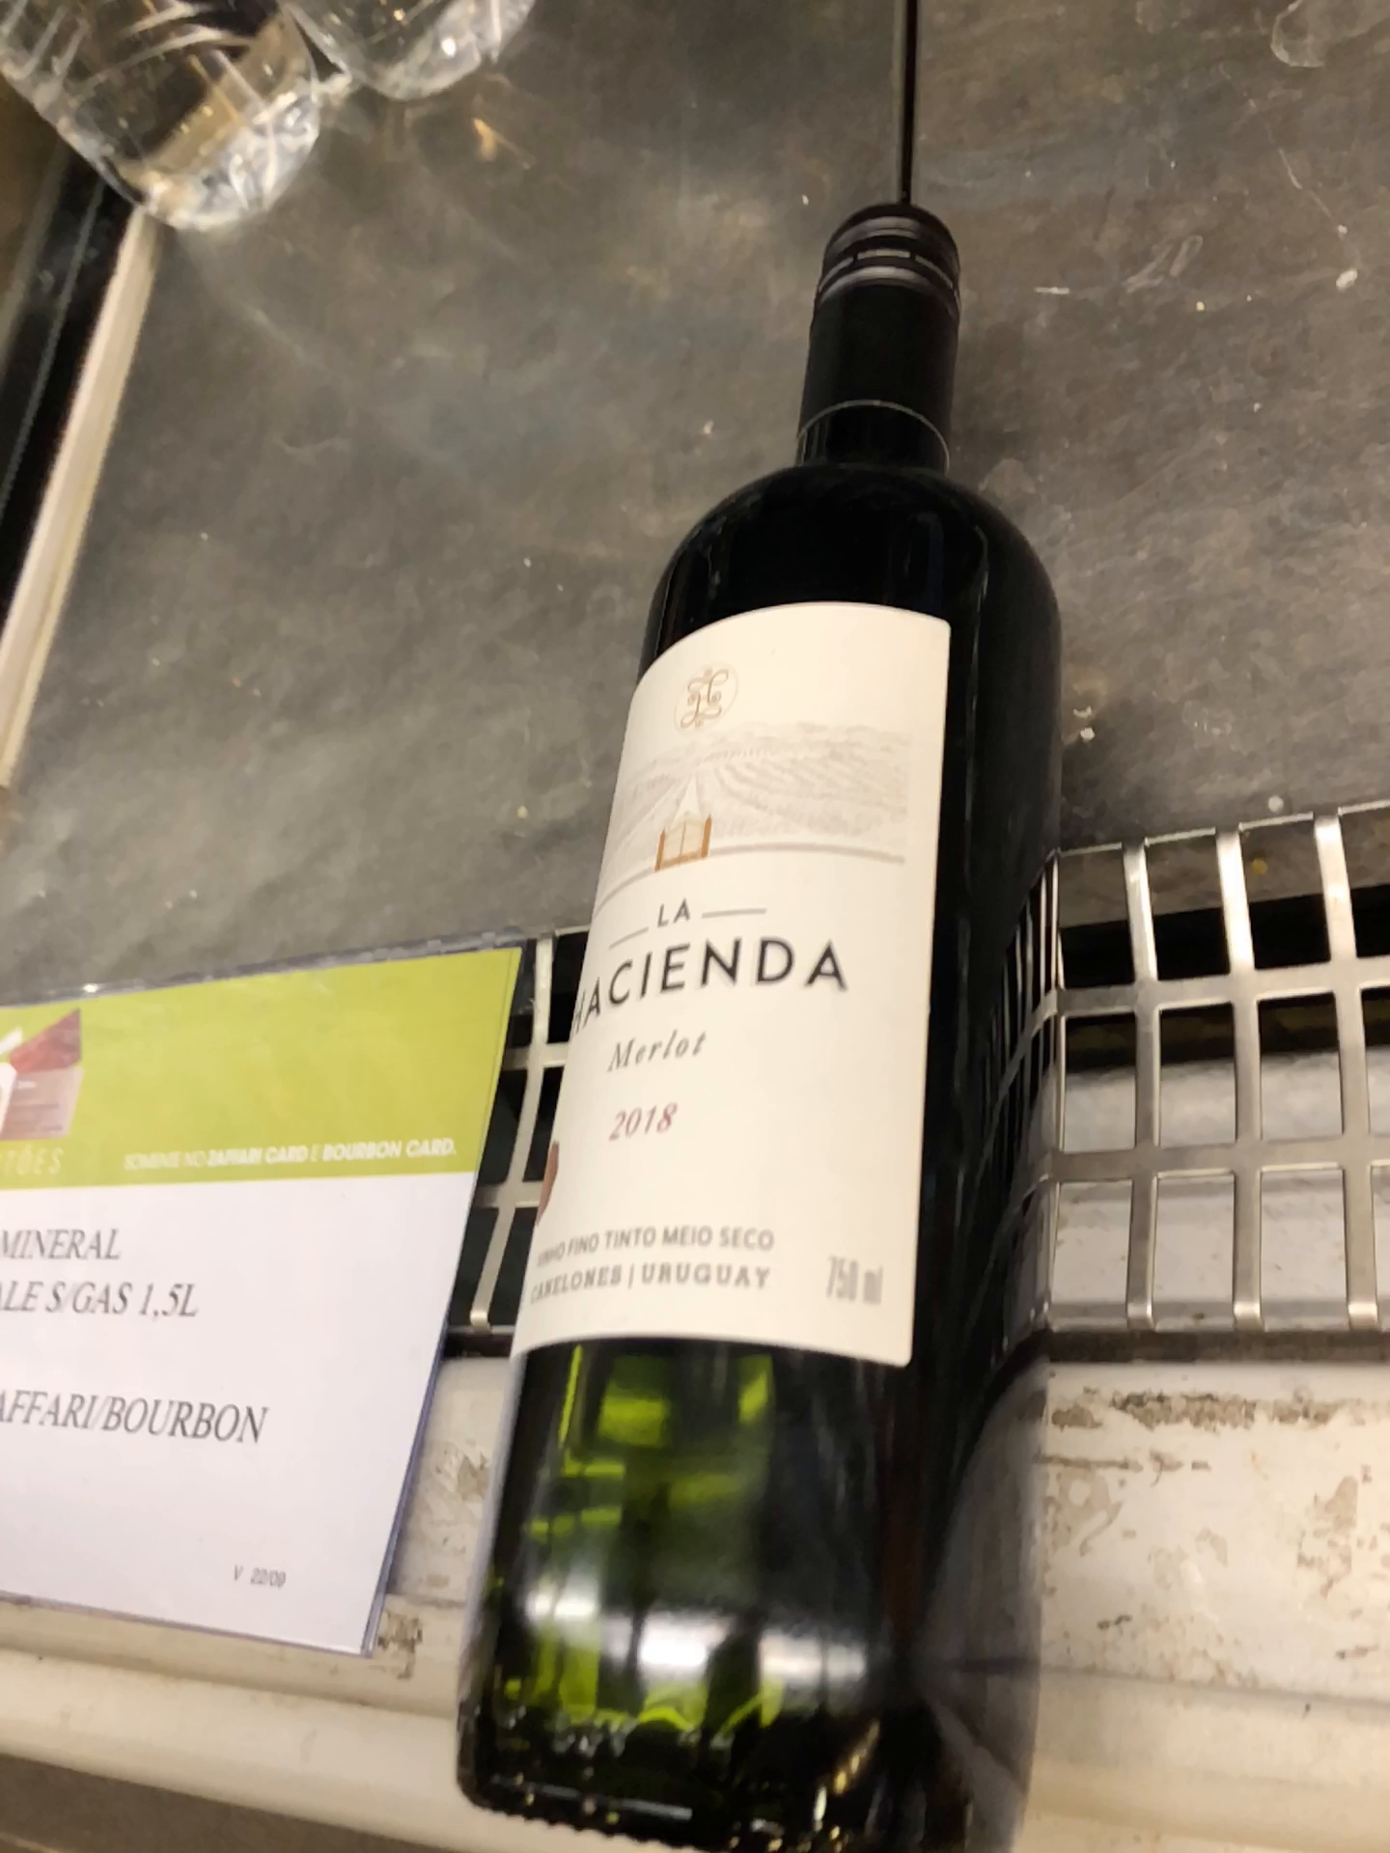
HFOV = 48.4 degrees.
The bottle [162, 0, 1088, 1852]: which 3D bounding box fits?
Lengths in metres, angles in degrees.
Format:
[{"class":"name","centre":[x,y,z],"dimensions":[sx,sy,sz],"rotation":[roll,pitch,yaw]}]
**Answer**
[{"class":"bottle","centre":[0.011,-0.027,0.248],"dimensions":[0.080,0.070,0.301],"rotation":[-9,57,30]}]
